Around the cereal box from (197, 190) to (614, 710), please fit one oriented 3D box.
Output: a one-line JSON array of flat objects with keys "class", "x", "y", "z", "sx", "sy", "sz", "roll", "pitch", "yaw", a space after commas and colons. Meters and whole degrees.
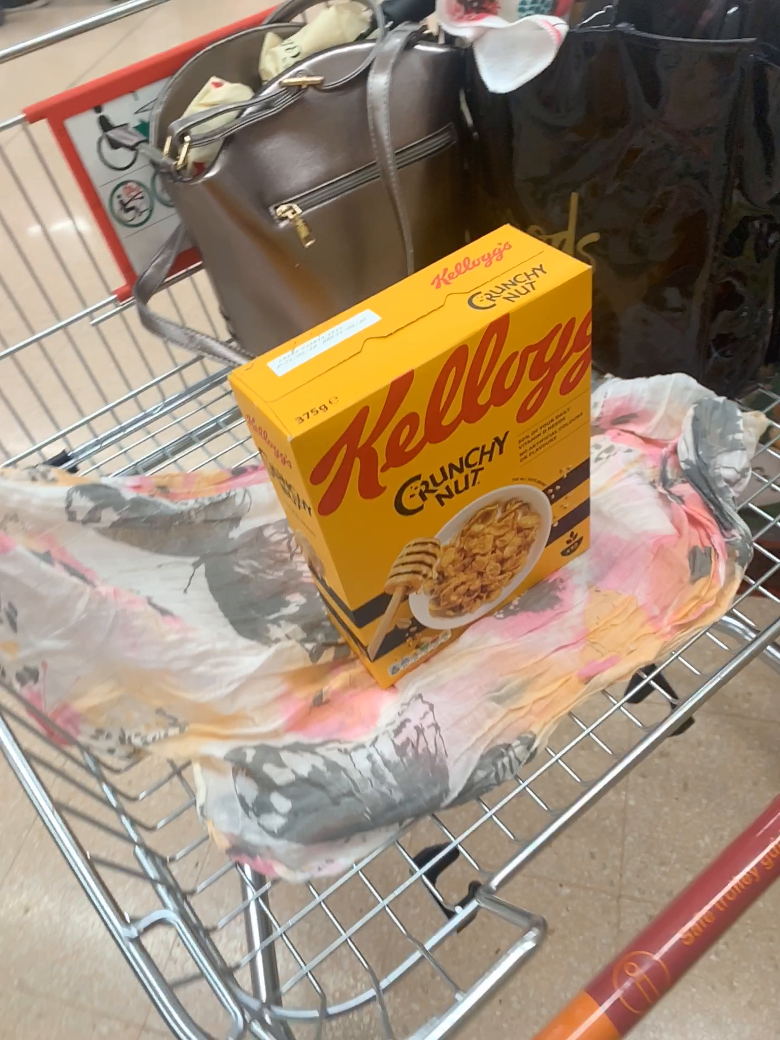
[{"class": "cereal box", "x": 0.030, "y": -0.031, "z": 0.507, "sx": 0.210, "sy": 0.258, "sz": 0.081, "roll": -33, "pitch": 51, "yaw": -17}]
